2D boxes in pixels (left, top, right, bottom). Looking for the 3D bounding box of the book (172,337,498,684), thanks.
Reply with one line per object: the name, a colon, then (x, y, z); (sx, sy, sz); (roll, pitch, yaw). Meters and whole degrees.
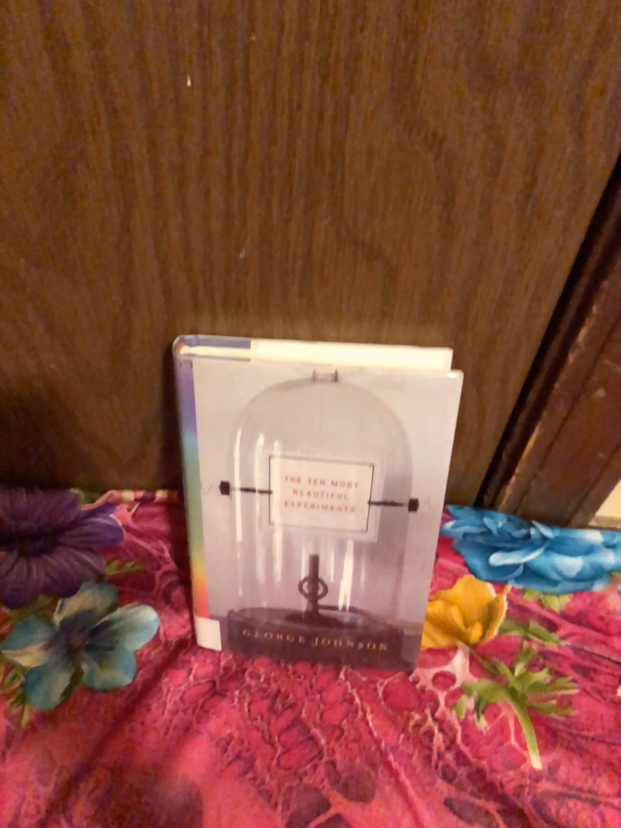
book: (0.007, 0.058, 0.358); (0.140, 0.190, 0.033); (3, 30, 2)
